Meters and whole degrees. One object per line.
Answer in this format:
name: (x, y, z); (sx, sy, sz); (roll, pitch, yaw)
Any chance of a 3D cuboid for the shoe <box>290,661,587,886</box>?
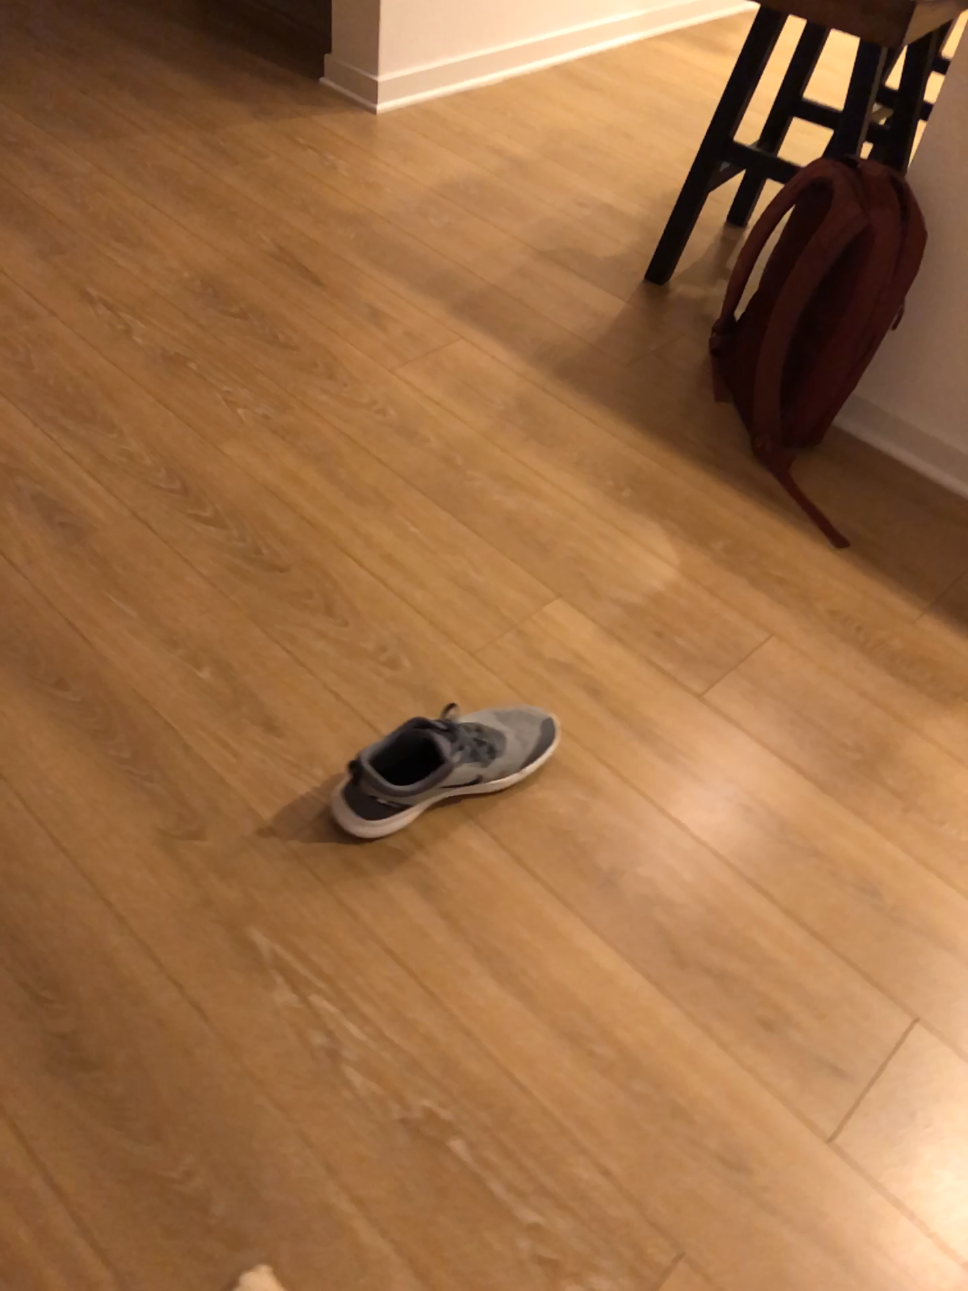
shoe: (-0.053, 0.144, 1.275); (0.321, 0.080, 0.140); (-21, 53, -25)
